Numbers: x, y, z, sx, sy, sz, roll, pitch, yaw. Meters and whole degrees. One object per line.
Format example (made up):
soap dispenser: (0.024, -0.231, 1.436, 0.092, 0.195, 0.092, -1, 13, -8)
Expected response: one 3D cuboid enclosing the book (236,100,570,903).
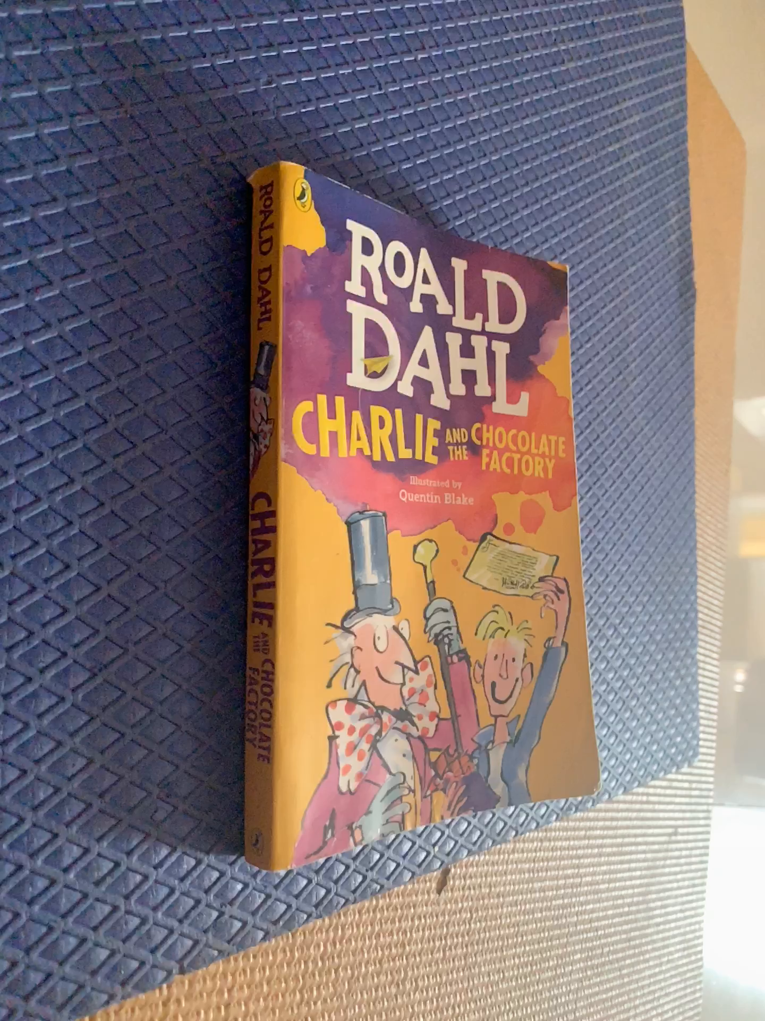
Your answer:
book: (0.015, -0.002, 0.266, 0.141, 0.020, 0.210, 4, 84, -47)
